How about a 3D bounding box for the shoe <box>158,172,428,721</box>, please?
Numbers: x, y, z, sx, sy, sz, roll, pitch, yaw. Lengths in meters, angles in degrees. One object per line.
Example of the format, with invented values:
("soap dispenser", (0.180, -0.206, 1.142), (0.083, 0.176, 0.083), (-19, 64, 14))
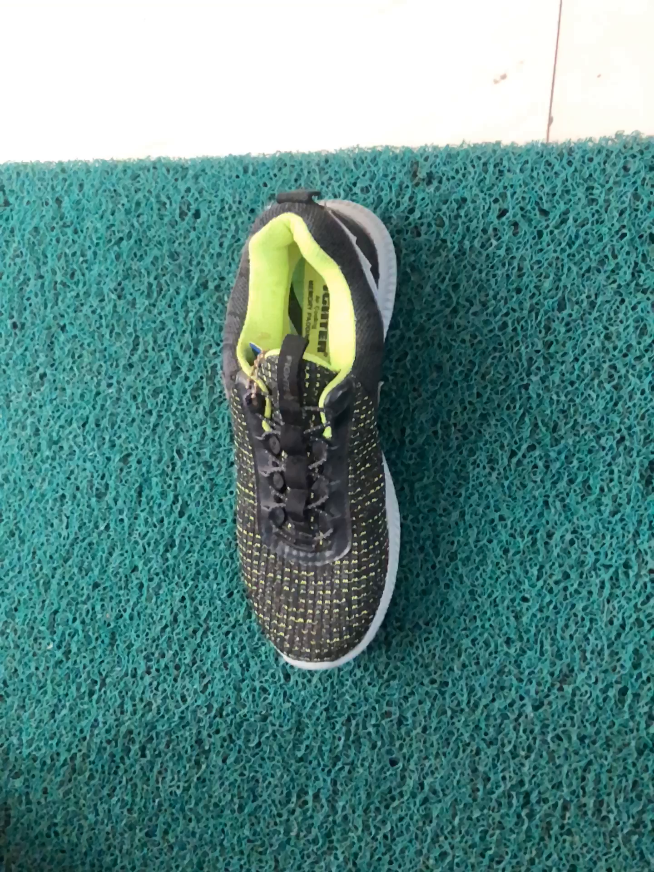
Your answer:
("shoe", (-0.013, 0.002, 0.414), (0.110, 0.090, 0.270), (4, 87, 18))
